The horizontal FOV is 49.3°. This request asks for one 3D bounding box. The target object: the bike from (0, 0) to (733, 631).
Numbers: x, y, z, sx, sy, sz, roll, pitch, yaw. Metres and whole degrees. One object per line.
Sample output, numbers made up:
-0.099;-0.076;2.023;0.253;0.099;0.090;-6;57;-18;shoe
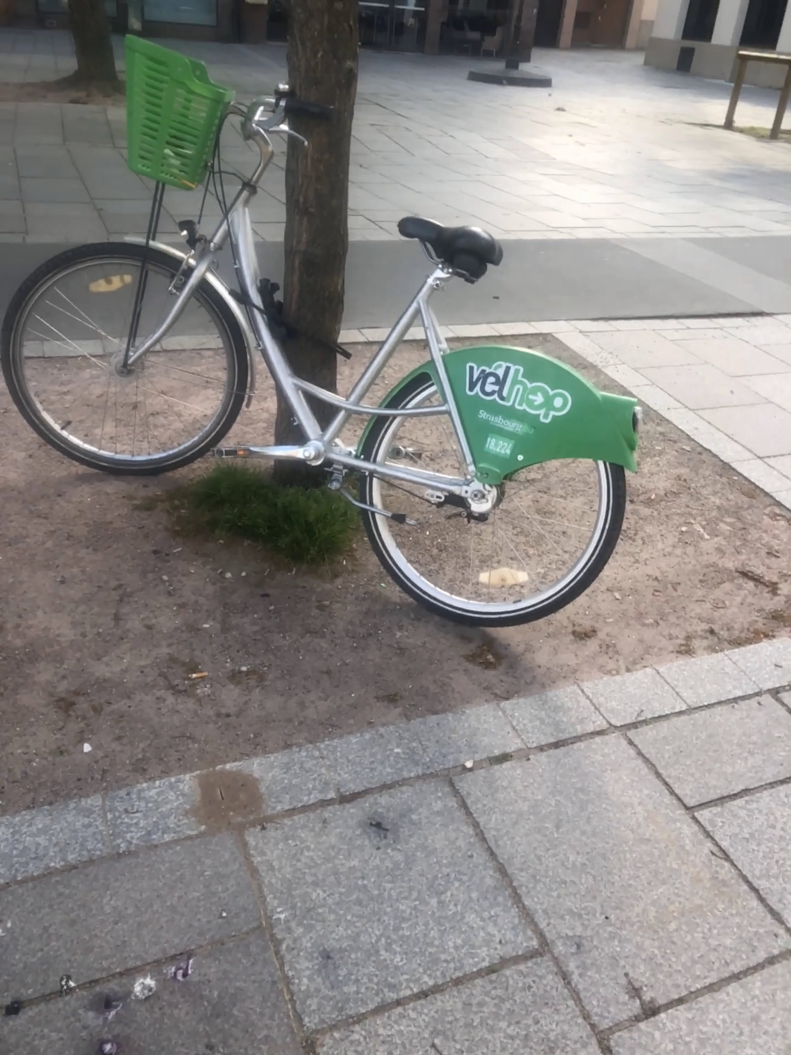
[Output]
-0.179;-0.524;2.205;1.719;1.114;0.313;16;32;9;bike
